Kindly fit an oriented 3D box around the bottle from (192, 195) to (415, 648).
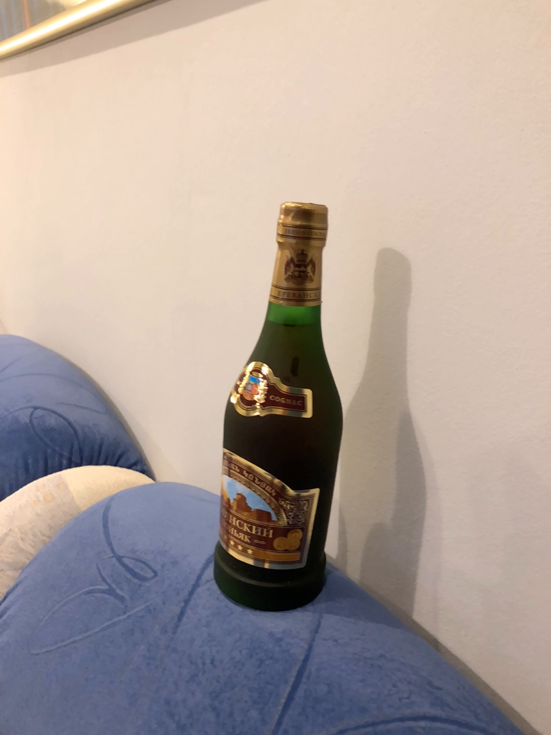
[{"bbox_3d":[0.010,0.025,0.369,0.080,0.243,0.090,-11,21,-42],"label":"bottle"}]
